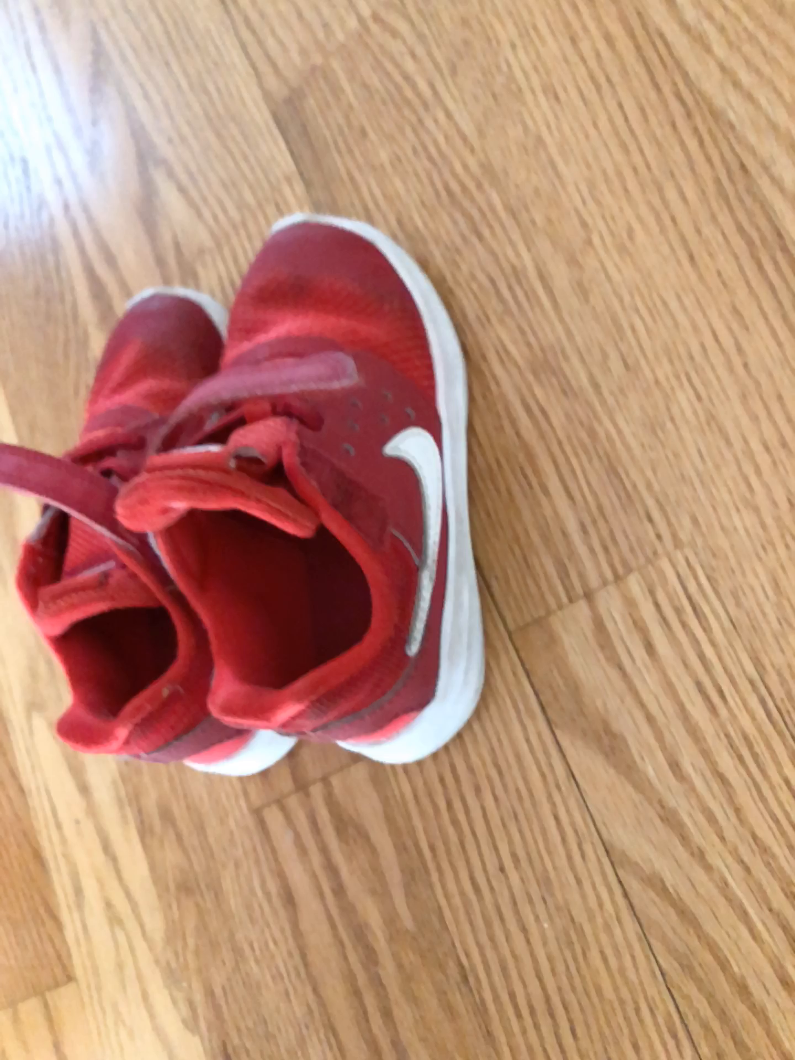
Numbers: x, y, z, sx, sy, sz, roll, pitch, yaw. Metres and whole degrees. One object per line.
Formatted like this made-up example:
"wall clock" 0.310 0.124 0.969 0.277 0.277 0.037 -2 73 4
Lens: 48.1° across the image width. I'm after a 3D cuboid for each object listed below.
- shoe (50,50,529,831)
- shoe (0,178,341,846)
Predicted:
"shoe" -0.032 -0.016 0.249 0.089 0.069 0.177 -13 80 30
"shoe" -0.088 -0.002 0.284 0.081 0.069 0.175 -19 77 29
